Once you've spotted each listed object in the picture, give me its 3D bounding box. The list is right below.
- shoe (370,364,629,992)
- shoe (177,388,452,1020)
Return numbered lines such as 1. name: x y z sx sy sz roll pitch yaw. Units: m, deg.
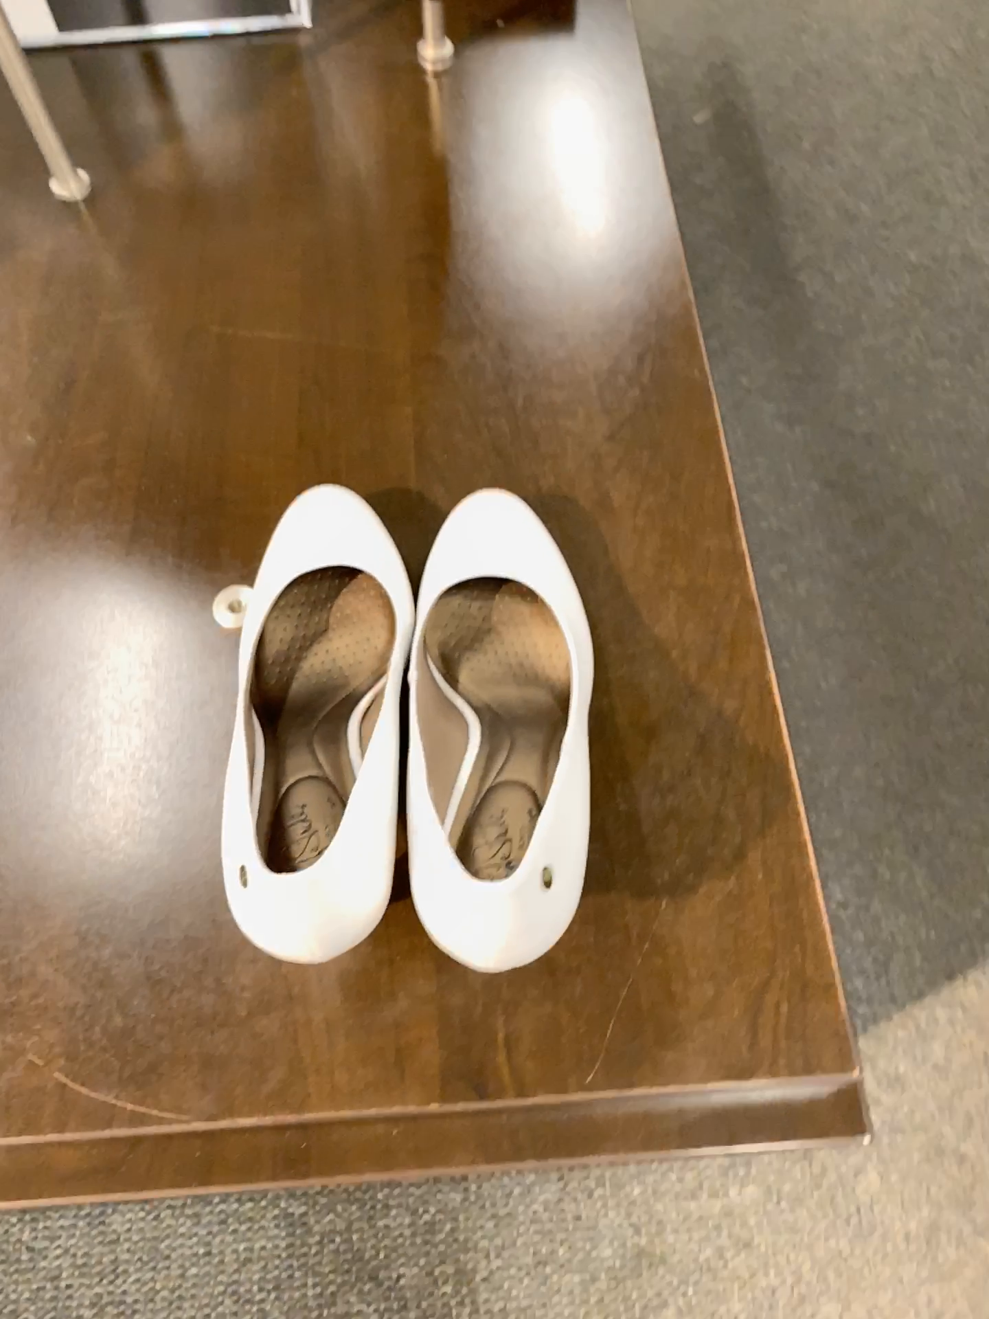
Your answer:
1. shoe: 0.001 0.006 0.462 0.090 0.110 0.261 -2 63 1
2. shoe: -0.077 0.017 0.467 0.090 0.110 0.261 -5 63 -1
